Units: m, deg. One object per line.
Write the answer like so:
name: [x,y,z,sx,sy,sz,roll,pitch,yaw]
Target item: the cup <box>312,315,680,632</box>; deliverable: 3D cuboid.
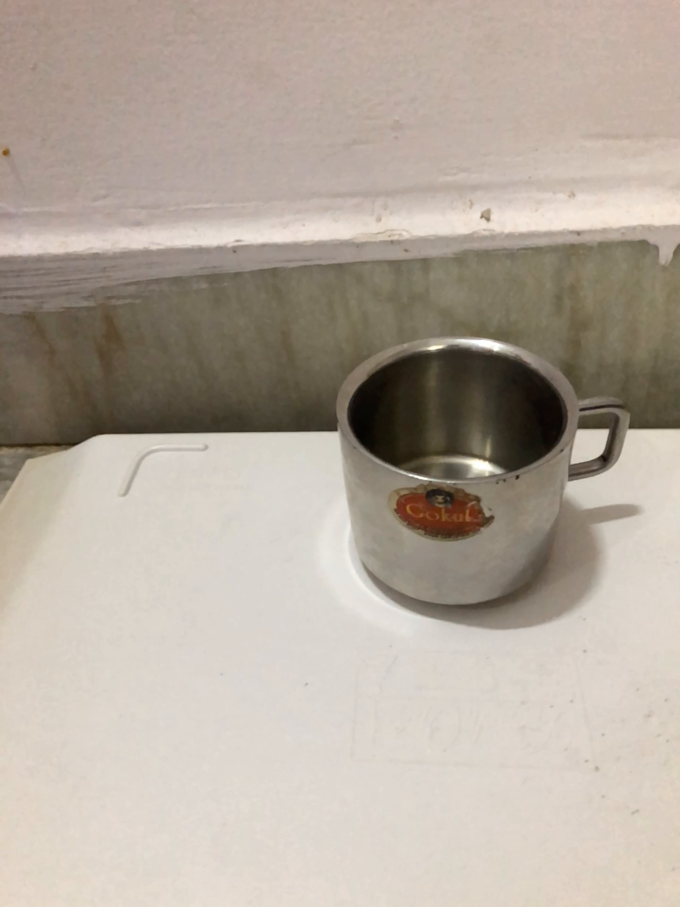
cup: [0.045,0.003,0.240,0.100,0.050,0.081,-6,40,-1]
